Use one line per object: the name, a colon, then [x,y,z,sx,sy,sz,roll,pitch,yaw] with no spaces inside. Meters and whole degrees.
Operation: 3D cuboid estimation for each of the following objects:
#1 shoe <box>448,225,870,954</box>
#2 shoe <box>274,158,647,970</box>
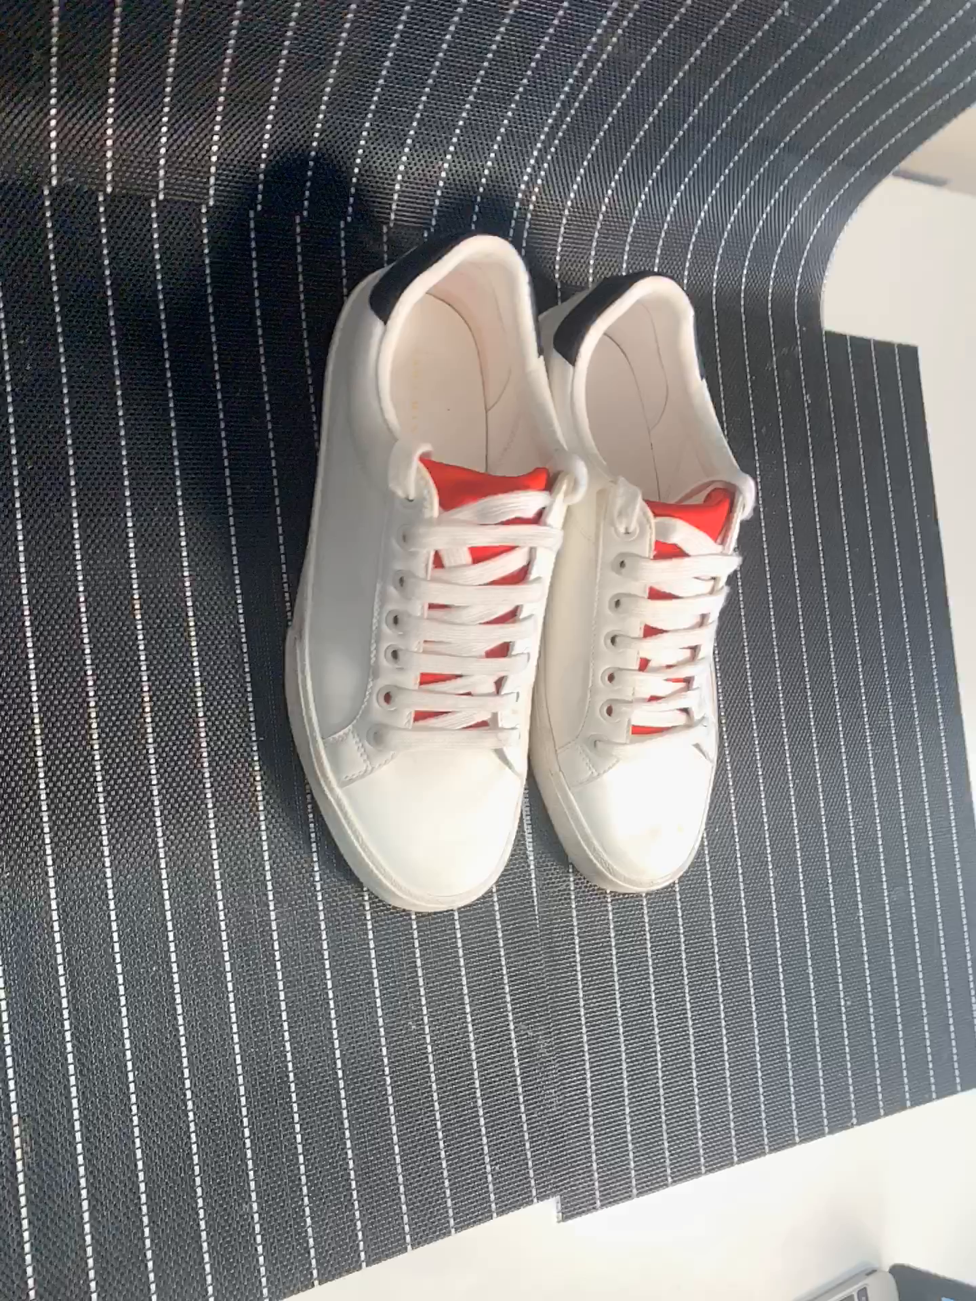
shoe: [0.074,-0.028,0.461,0.120,0.090,0.290,-6,86,-27]
shoe: [-0.017,-0.030,0.419,0.120,0.090,0.290,1,83,-27]
